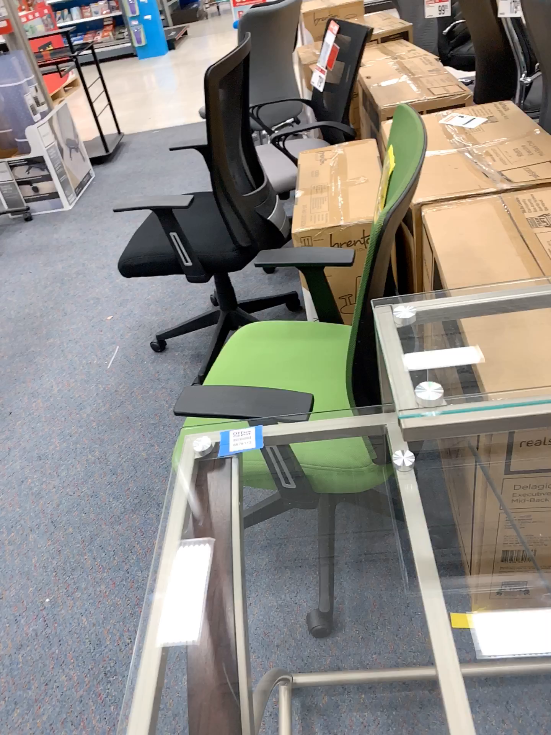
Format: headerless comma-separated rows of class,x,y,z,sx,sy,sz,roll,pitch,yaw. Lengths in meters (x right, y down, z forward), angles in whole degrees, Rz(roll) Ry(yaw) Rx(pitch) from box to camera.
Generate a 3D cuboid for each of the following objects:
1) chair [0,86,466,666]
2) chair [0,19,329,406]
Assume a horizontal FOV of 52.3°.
chair,0.062,0.027,1.170,0.598,0.912,0.647,2,40,18
chair,-0.258,-0.469,1.833,0.658,0.972,0.647,2,40,18
